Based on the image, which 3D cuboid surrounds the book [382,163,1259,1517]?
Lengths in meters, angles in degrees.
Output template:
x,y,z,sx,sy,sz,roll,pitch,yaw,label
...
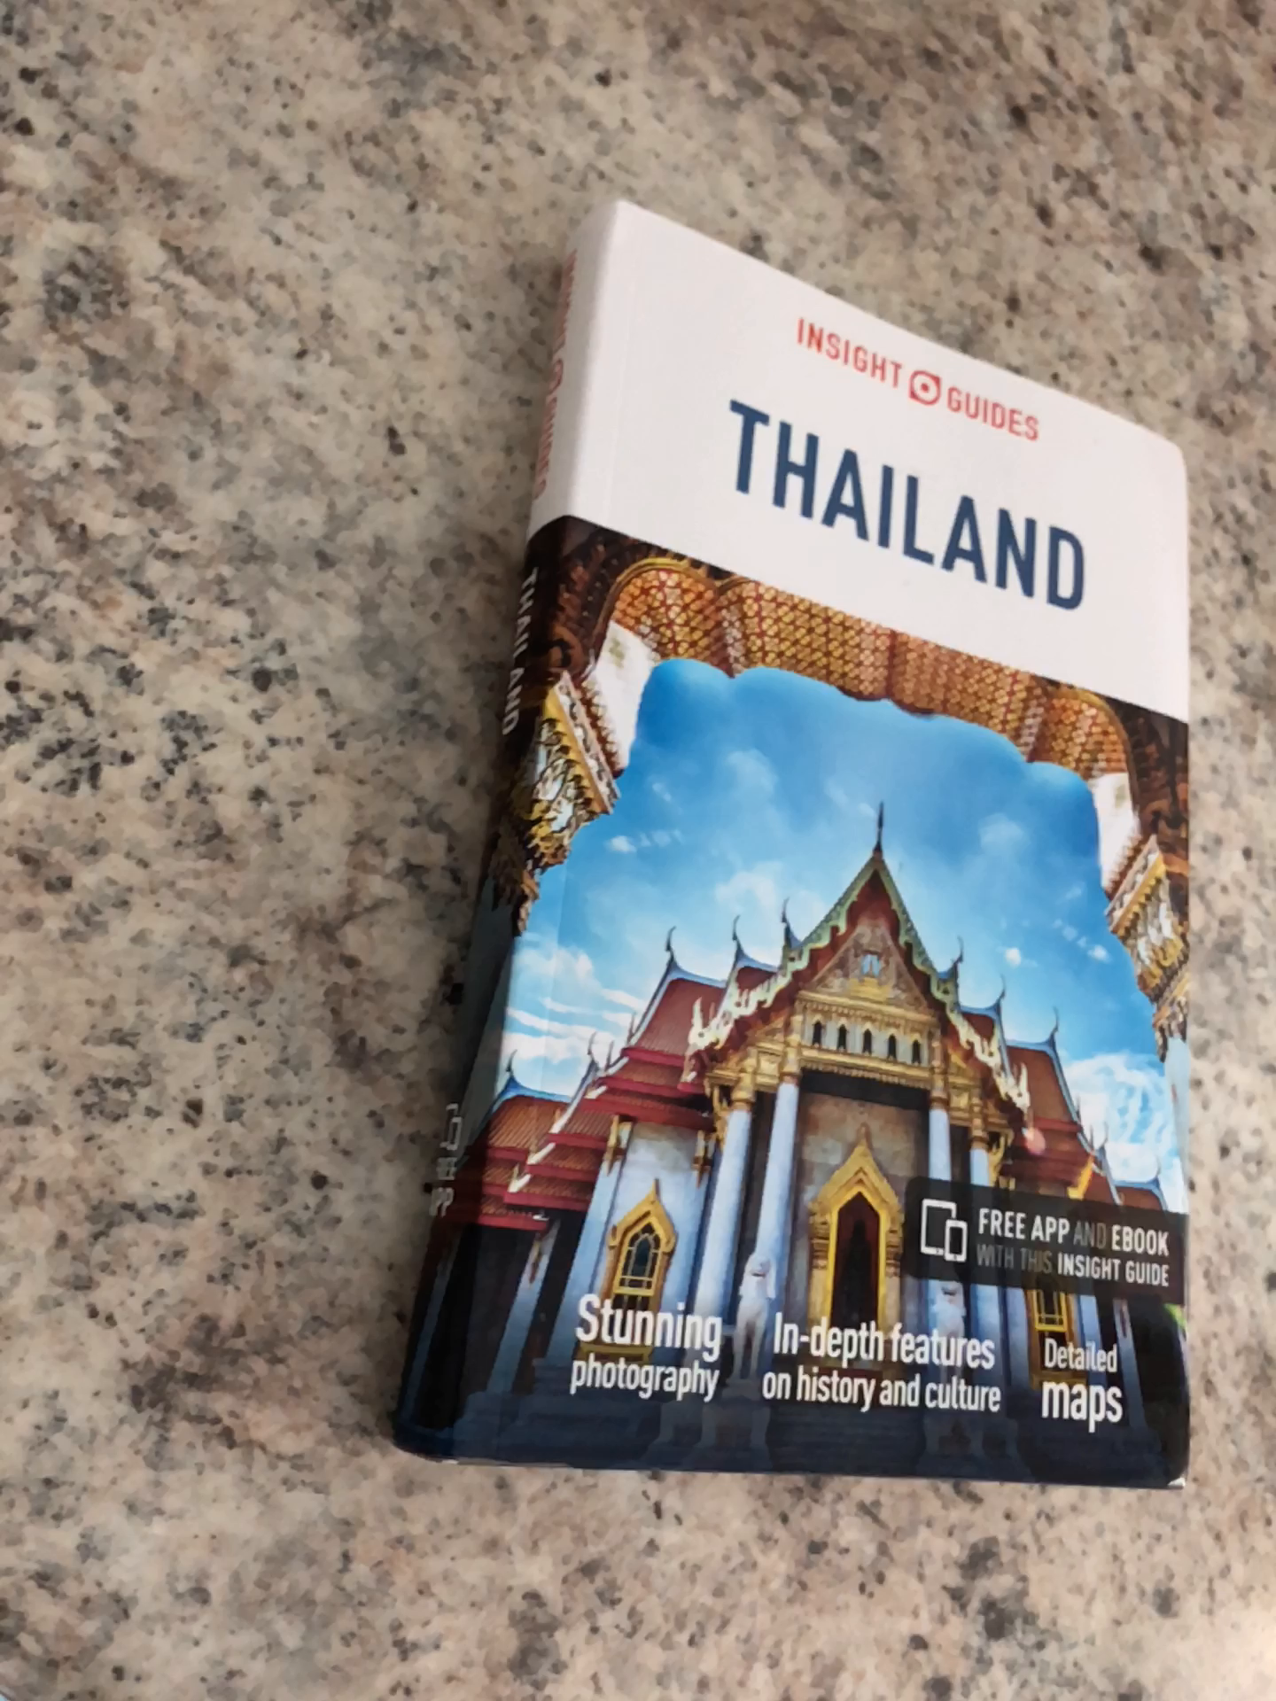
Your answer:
x,y,z,sx,sy,sz,roll,pitch,yaw,label
0.050,-0.002,0.291,0.164,0.030,0.240,15,69,-23,book
